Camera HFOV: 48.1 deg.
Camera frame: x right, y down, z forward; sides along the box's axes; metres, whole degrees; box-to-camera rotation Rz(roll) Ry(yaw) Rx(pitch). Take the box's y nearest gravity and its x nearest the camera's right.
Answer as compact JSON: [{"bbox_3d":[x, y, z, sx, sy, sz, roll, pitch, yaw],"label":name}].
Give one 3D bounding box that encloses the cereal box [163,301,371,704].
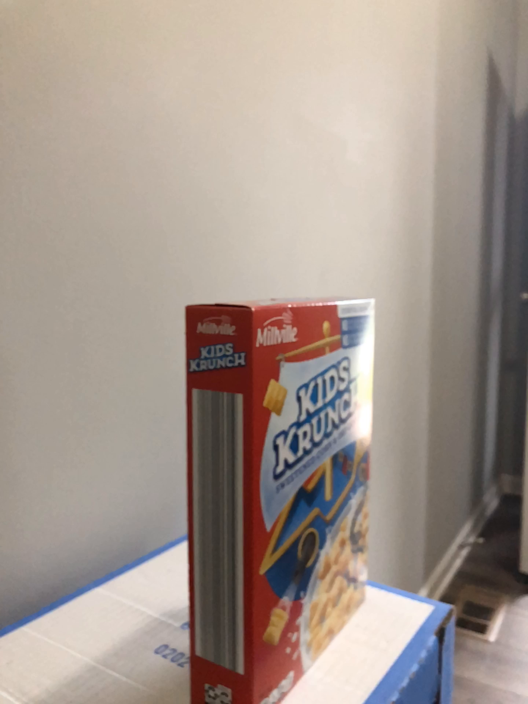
[{"bbox_3d":[0.016,0.098,0.466,0.060,0.270,0.210,3,7,31],"label":"cereal box"}]
